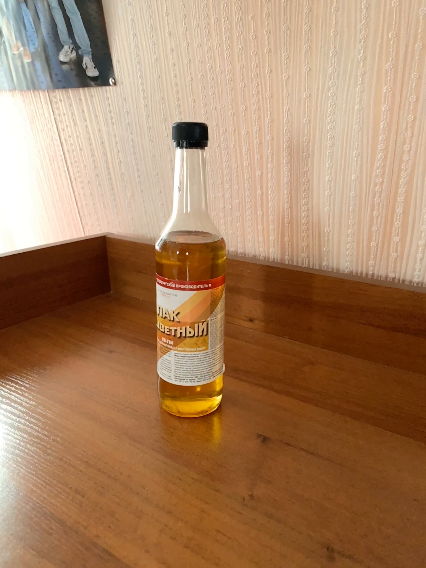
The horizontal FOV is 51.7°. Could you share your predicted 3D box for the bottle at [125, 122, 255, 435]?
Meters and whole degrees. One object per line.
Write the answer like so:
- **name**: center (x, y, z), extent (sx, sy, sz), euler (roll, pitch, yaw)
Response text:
- **bottle**: center (-0.022, -0.007, 0.398), extent (0.080, 0.258, 0.070), euler (15, 21, 35)
